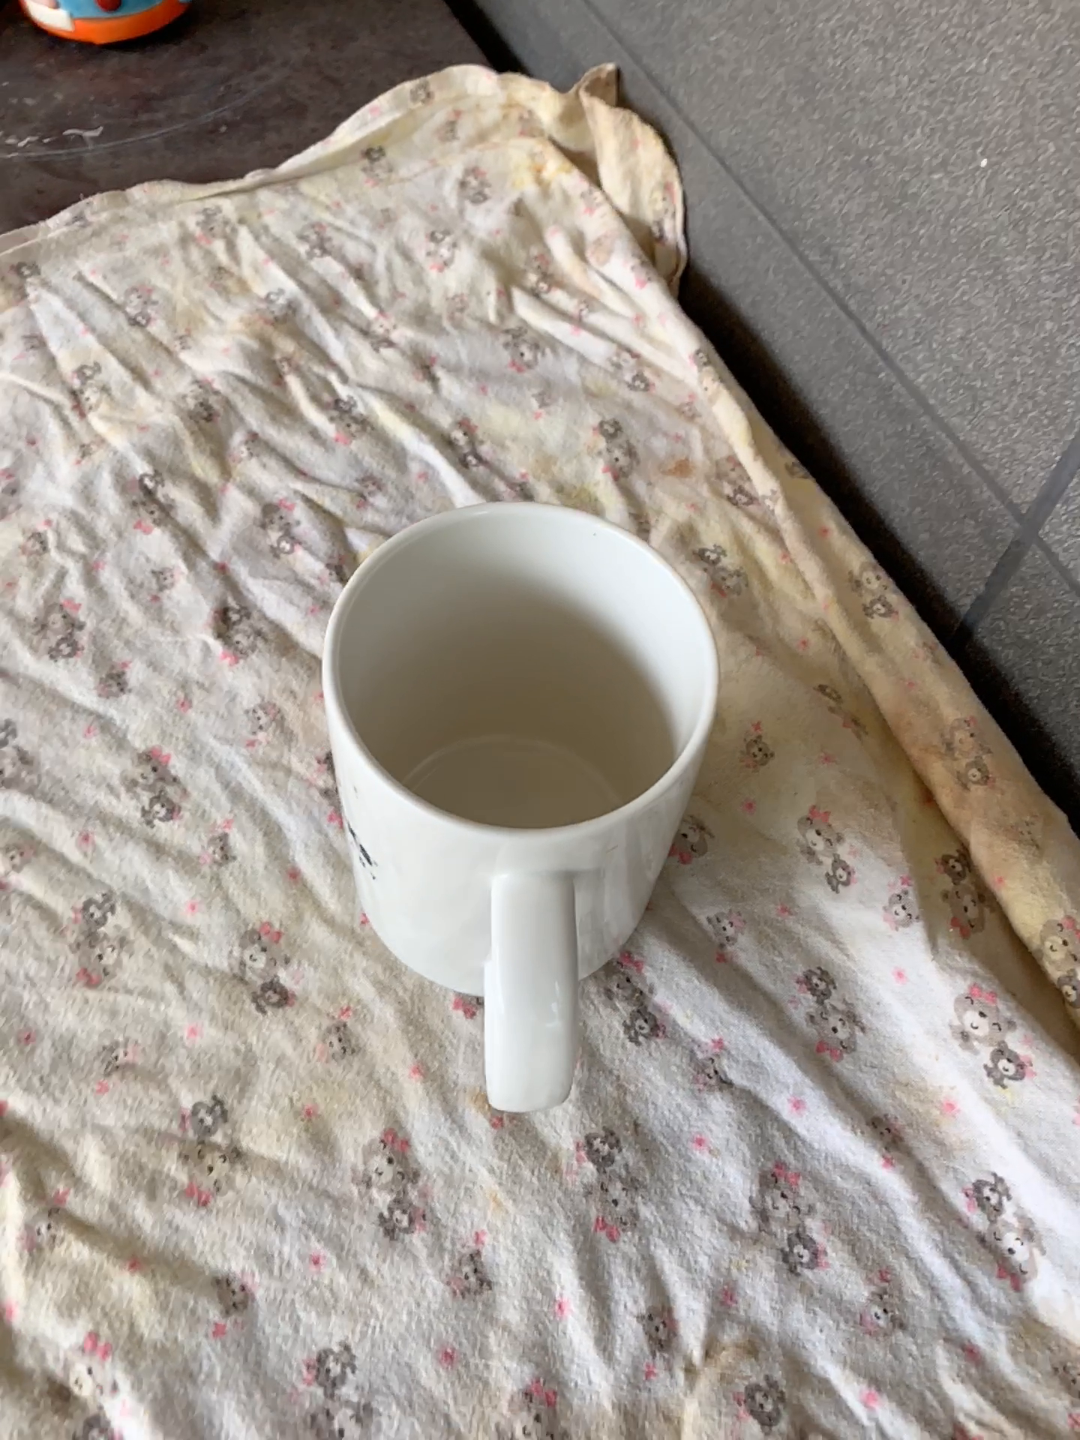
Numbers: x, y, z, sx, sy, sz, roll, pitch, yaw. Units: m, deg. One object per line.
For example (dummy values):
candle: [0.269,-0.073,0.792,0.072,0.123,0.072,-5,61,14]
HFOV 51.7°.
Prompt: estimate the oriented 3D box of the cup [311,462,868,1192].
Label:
cup: [-0.001,0.027,0.267,0.090,0.110,0.130,-5,58,-8]
